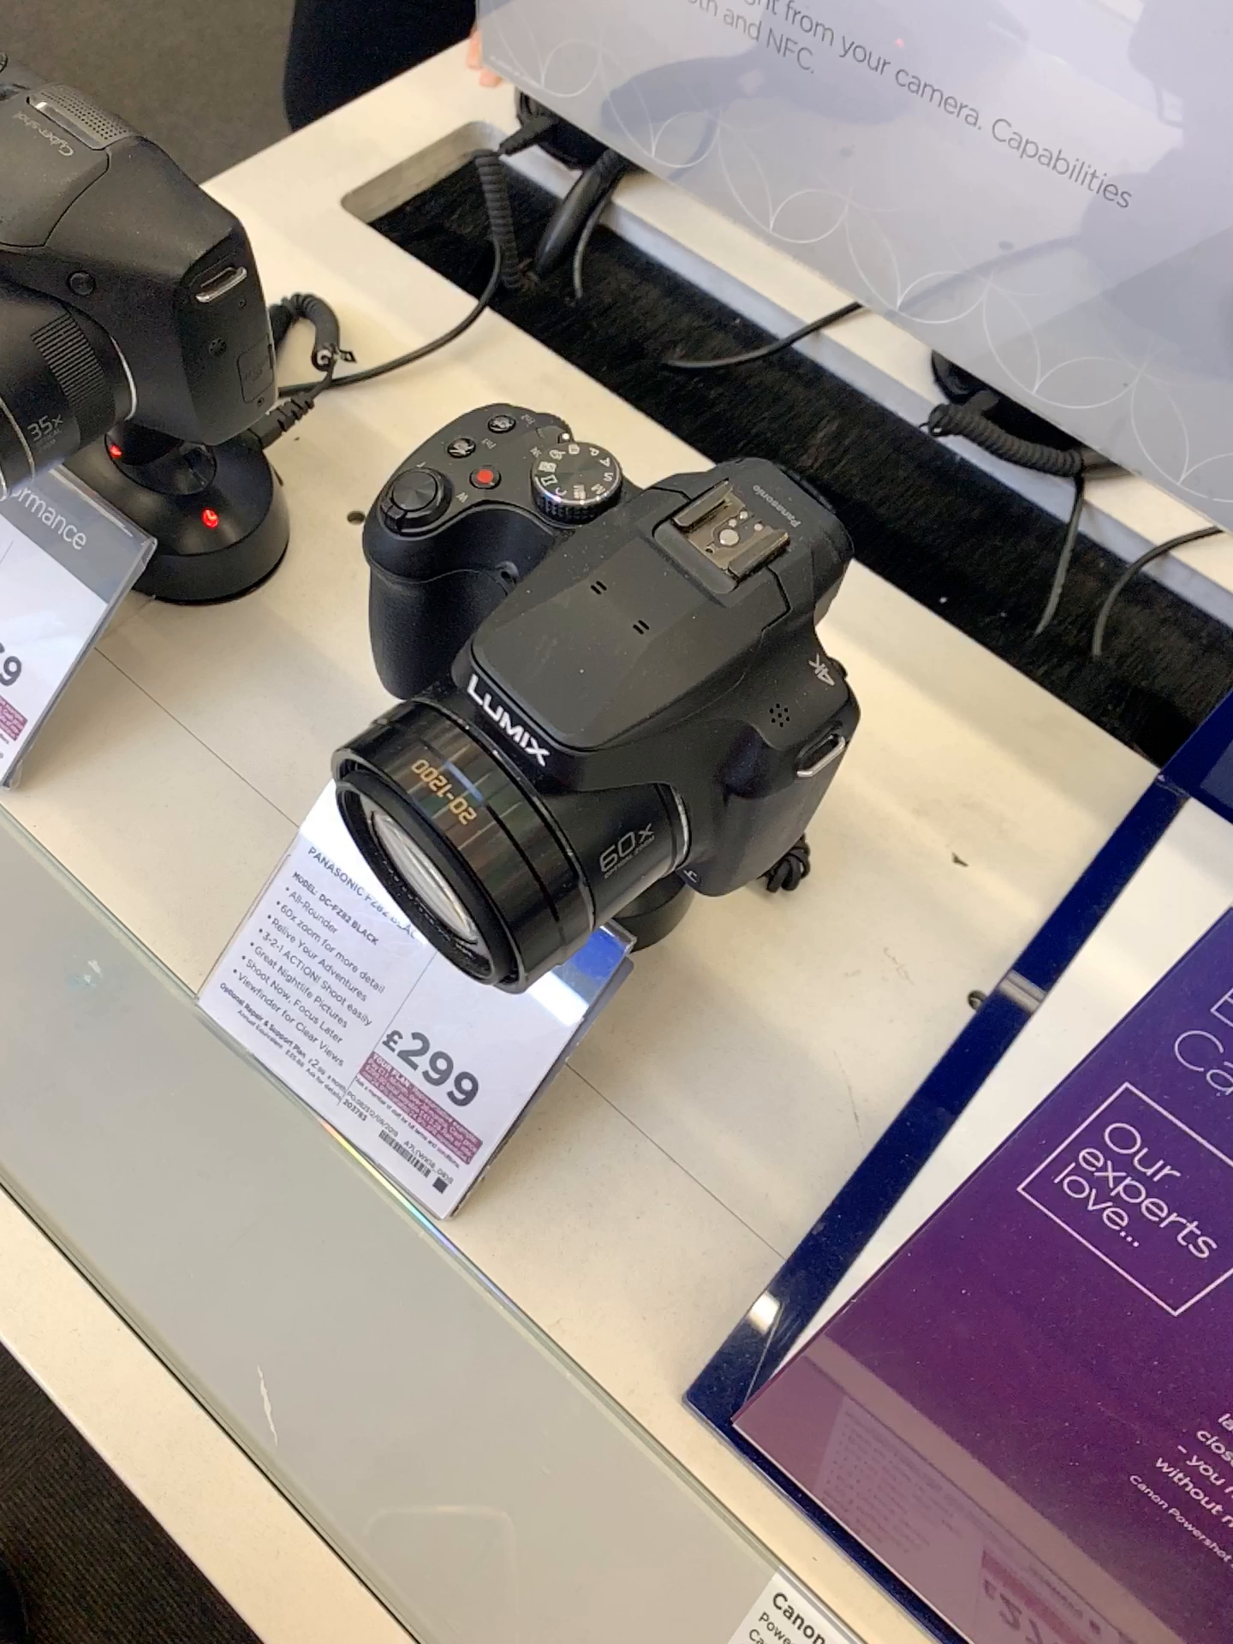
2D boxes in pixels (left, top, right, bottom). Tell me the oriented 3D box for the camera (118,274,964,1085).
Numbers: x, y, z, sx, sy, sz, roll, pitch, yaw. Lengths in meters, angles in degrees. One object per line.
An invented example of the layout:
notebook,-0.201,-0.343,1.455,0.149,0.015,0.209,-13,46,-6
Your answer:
camera,-0.017,-0.036,0.300,0.130,0.079,0.120,42,66,17
